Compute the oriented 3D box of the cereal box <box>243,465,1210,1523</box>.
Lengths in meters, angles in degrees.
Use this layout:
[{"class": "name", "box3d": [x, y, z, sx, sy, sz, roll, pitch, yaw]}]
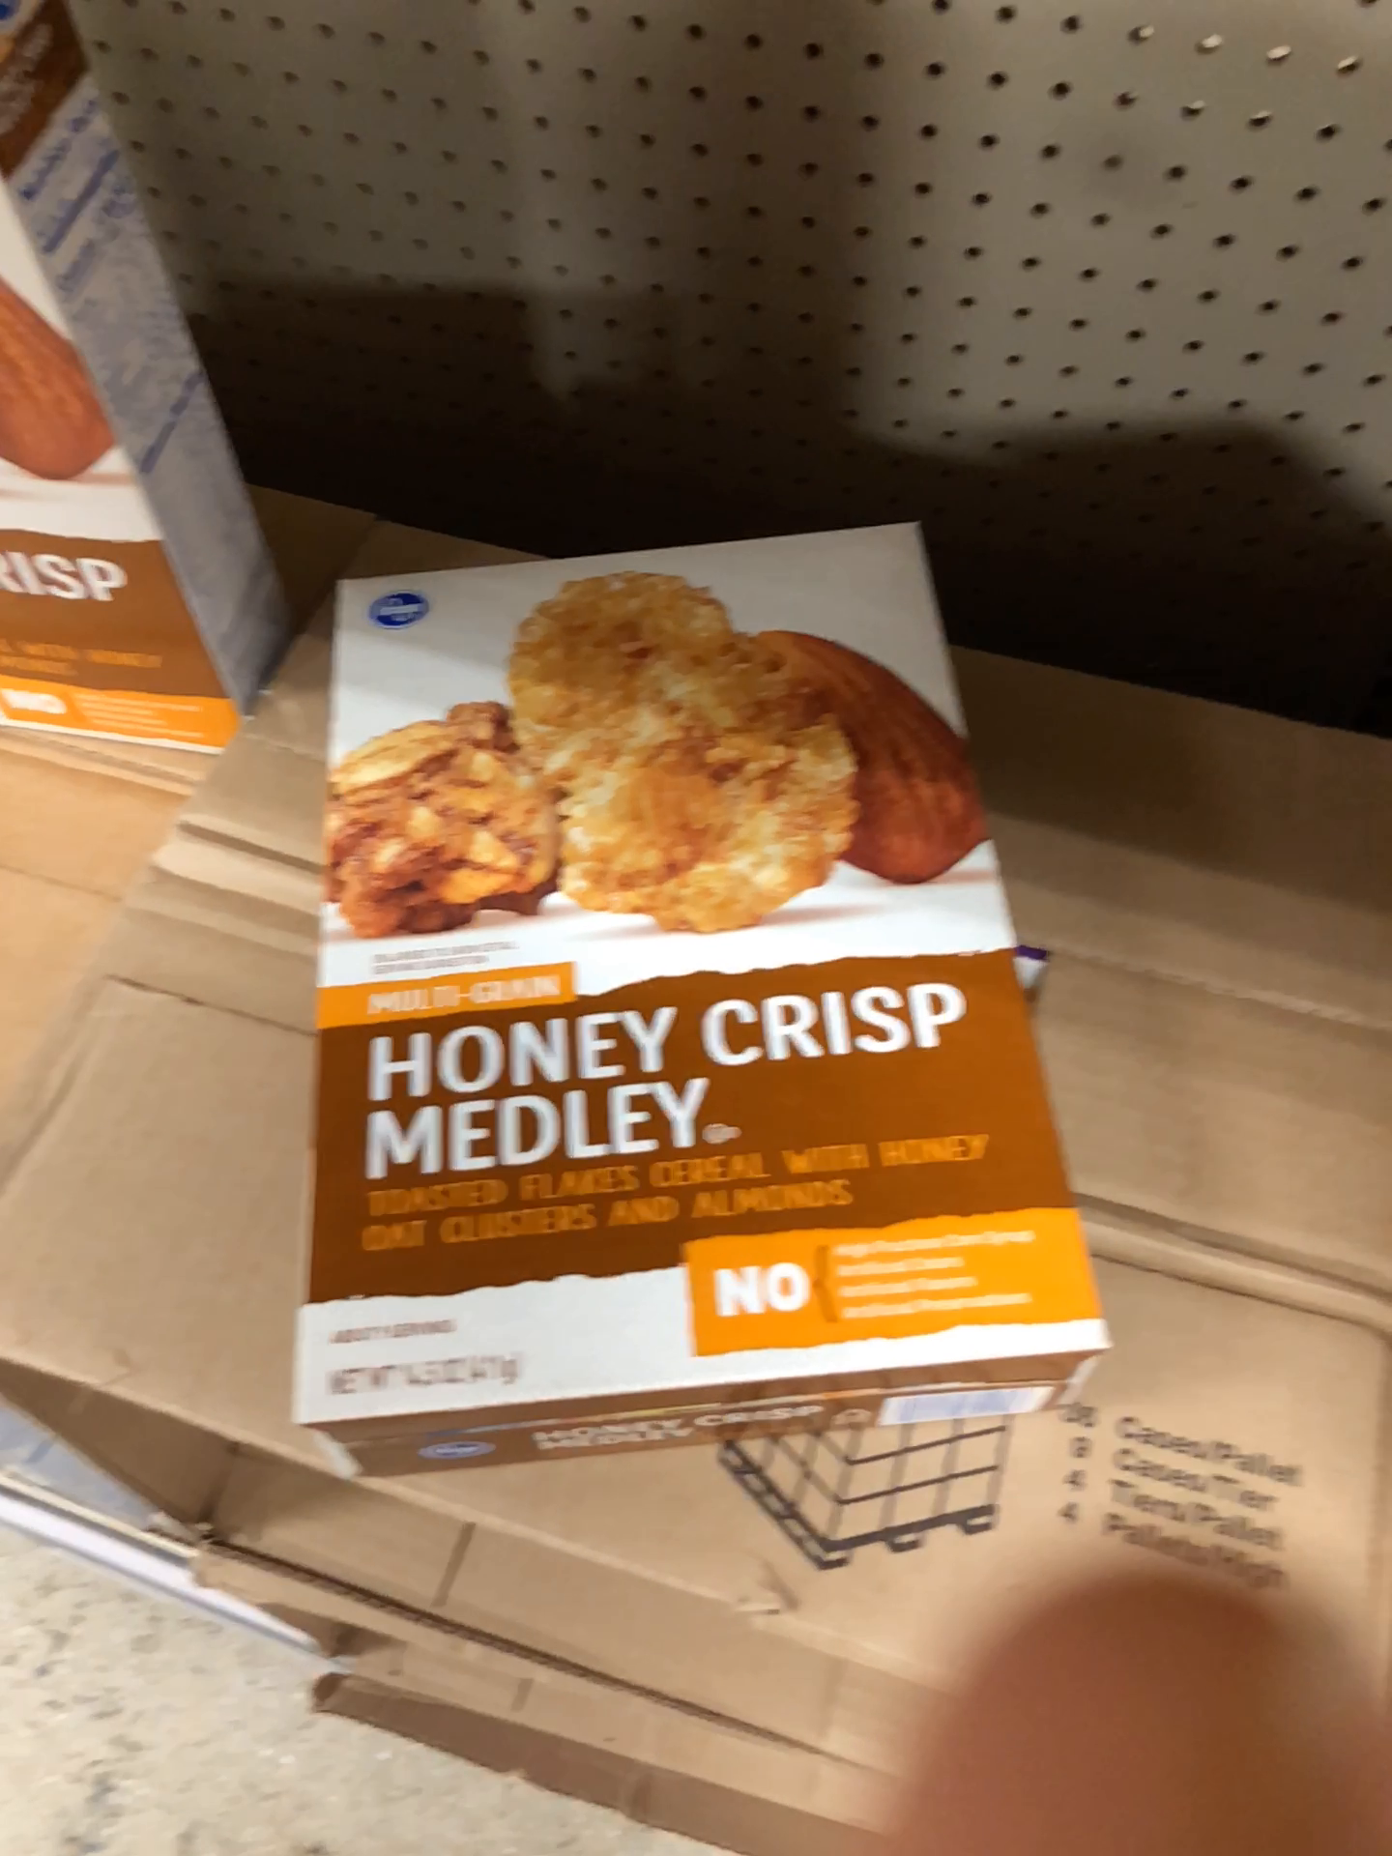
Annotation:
[{"class": "cereal box", "box3d": [-0.005, 0.001, 0.412, 0.200, 0.060, 0.270, -6, 58, -1]}]
